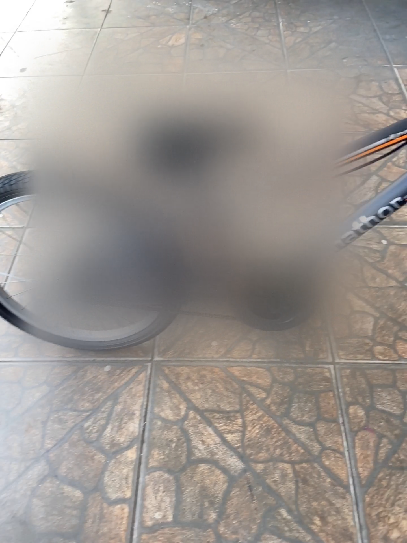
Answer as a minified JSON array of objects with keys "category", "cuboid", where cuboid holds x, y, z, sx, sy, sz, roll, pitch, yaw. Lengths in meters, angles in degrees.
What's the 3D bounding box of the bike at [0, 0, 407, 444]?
[{"category":"bike","cuboid":[0.126,-0.230,0.837,1.350,0.979,0.726,-4,54,-2]}]
